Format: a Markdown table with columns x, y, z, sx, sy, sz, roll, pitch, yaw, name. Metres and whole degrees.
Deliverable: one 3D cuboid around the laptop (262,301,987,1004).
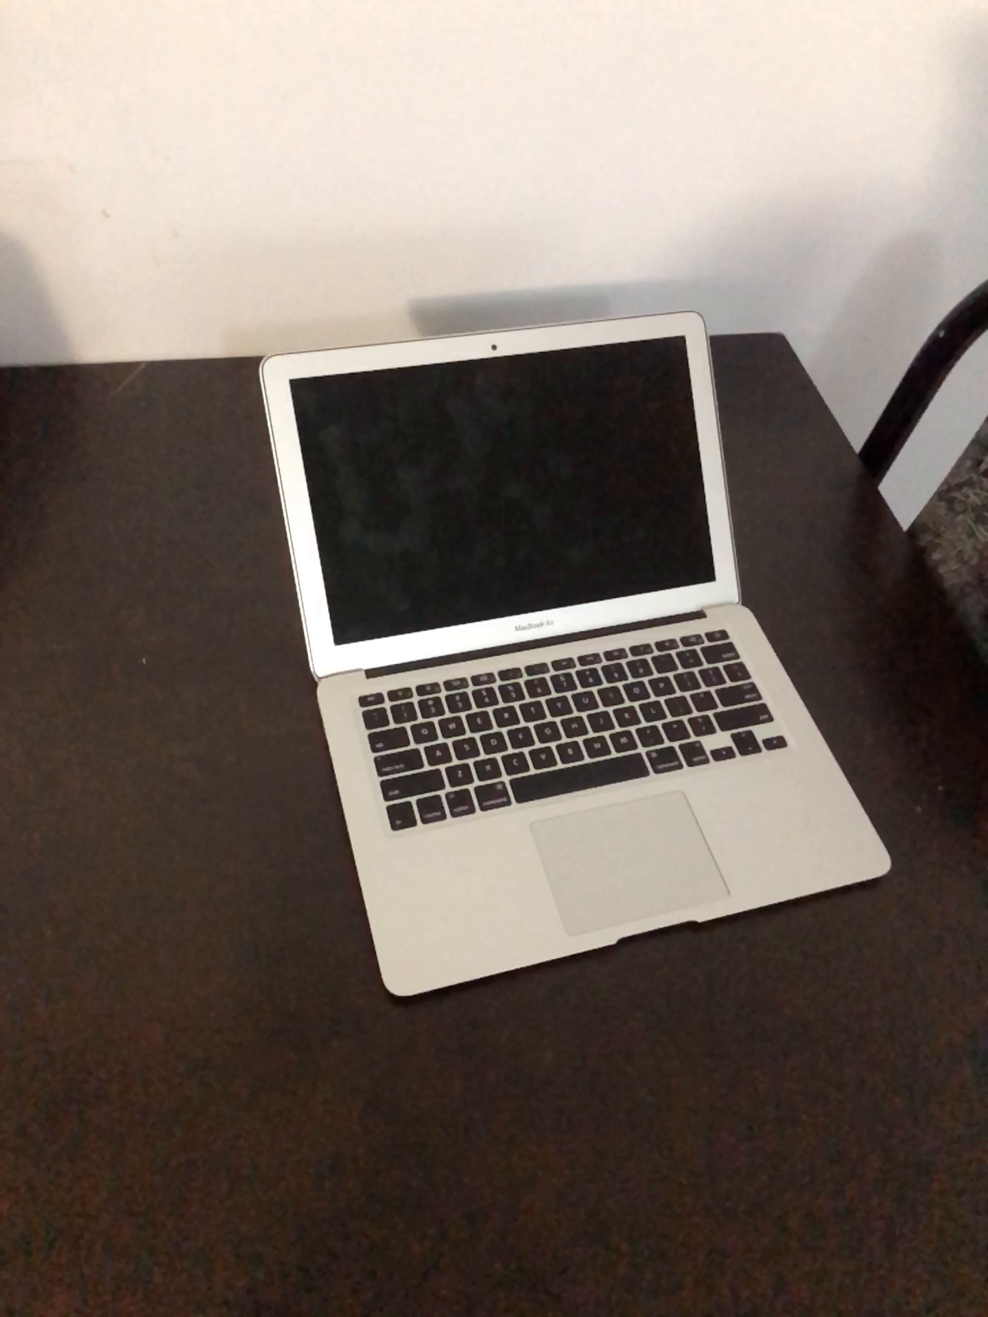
| x | y | z | sx | sy | sz | roll | pitch | yaw | name |
| --- | --- | --- | --- | --- | --- | --- | --- | --- | --- |
| 0.046 | -0.033 | 0.647 | 0.303 | 0.136 | 0.362 | -10 | 53 | -14 | laptop |
